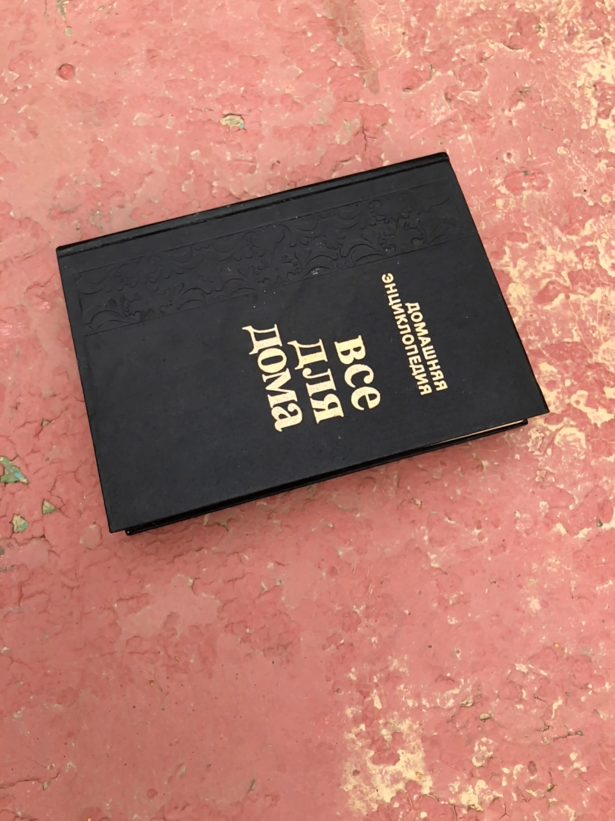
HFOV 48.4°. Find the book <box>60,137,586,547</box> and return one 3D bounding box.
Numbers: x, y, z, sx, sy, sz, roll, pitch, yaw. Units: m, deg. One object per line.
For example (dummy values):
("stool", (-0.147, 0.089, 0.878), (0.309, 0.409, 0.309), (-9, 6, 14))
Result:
("book", (0.003, -0.036, 0.334), (0.210, 0.040, 0.150), (-14, 75, -5))
